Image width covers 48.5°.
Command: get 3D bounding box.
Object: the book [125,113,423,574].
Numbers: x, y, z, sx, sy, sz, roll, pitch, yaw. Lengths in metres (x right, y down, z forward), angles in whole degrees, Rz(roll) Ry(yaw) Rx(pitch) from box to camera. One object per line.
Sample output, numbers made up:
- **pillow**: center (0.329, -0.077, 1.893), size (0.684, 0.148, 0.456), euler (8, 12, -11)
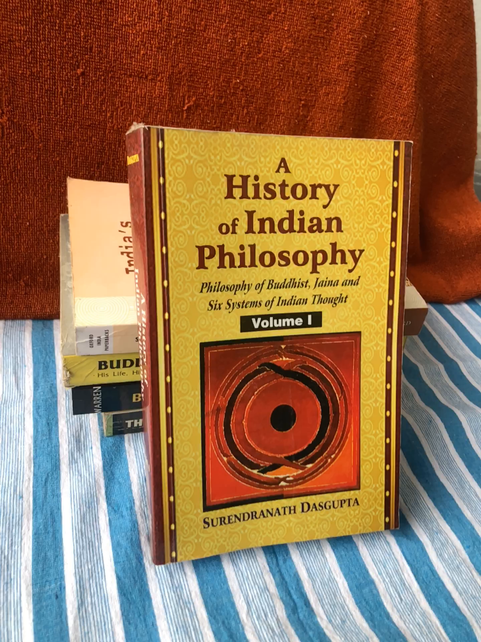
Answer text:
- **book**: center (0.017, 0.010, 0.285), size (0.141, 0.216, 0.048), euler (-3, 10, -14)
